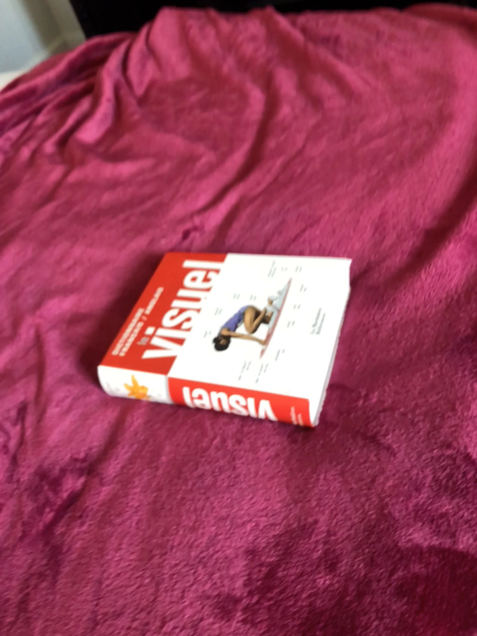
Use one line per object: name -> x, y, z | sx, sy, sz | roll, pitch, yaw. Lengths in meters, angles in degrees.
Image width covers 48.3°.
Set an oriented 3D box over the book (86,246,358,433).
book -> -0.008, 0.006, 0.432 | 0.180, 0.039, 0.141 | 6, 50, 23
